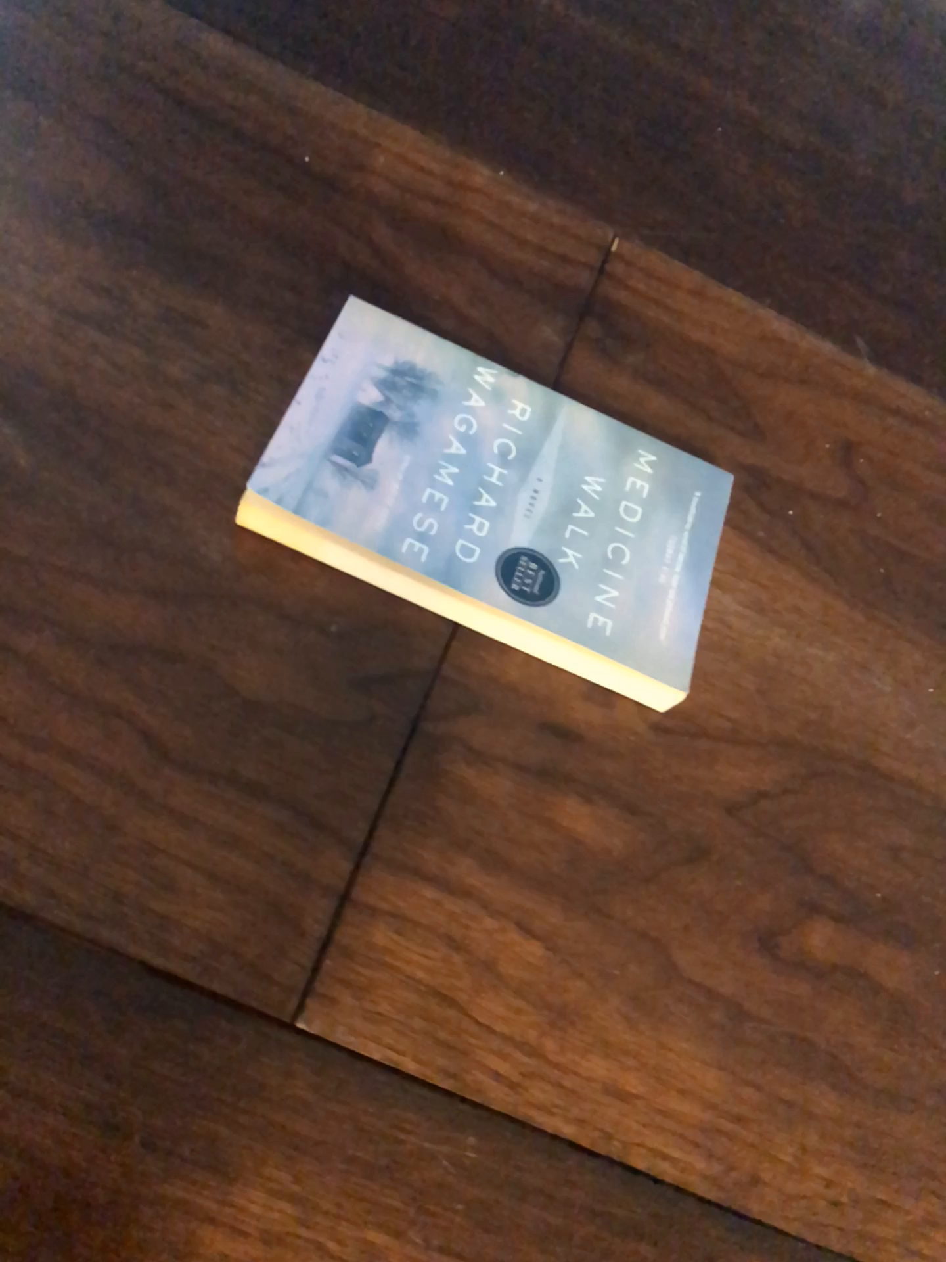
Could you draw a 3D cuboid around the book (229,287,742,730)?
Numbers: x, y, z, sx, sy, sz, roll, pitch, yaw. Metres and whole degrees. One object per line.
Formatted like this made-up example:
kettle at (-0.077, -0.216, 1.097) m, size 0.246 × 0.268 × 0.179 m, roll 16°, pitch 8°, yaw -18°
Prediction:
book at (0.014, -0.059, 0.482) m, size 0.206 × 0.027 × 0.138 m, roll 24°, pitch 59°, yaw -6°
